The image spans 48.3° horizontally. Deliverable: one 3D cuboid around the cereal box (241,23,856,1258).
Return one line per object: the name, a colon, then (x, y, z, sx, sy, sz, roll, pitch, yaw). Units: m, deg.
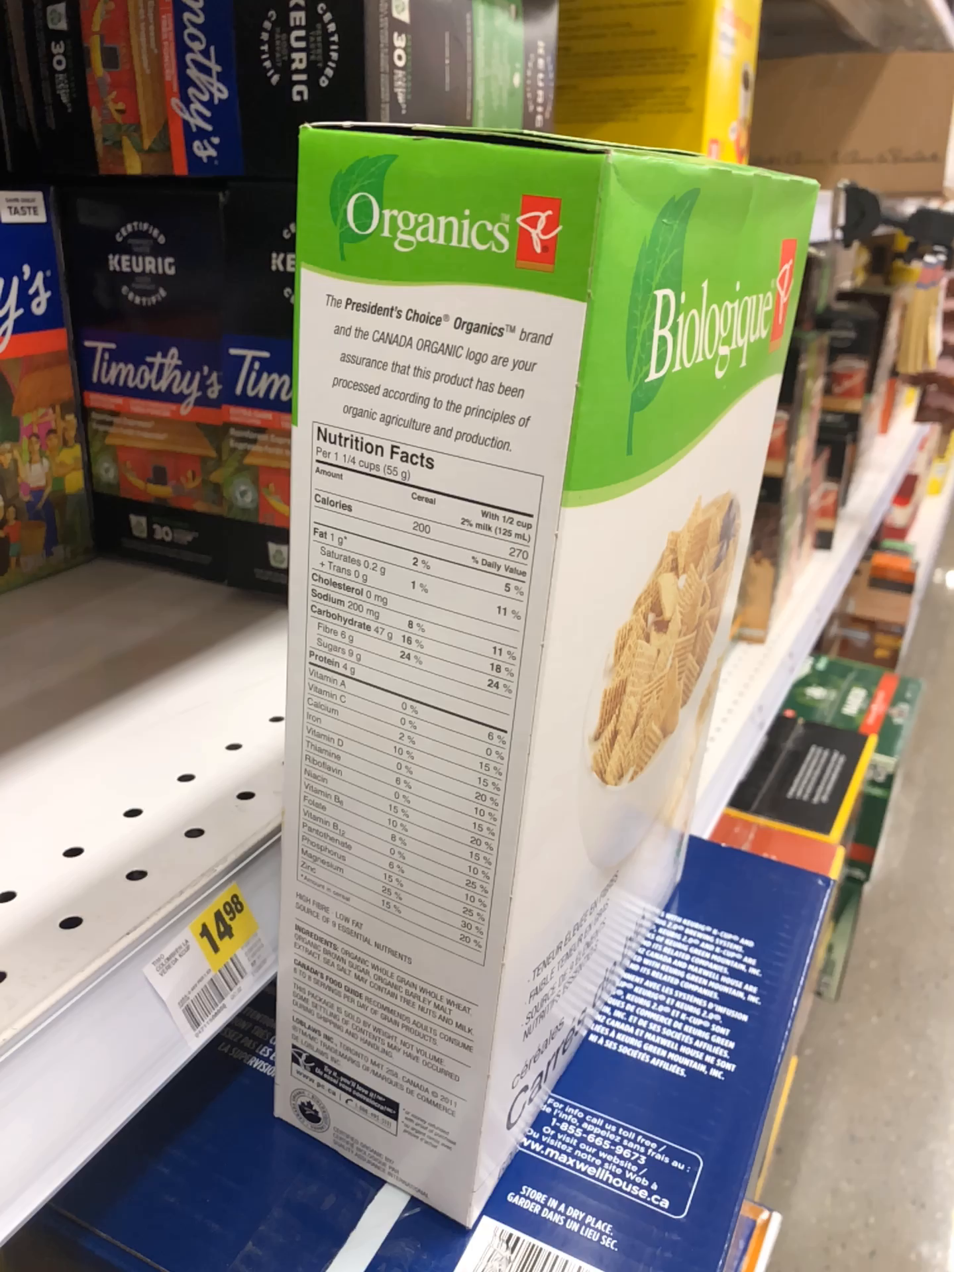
cereal box: (0.026, -0.006, 0.329, 0.070, 0.289, 0.211, 18, 26, 22)
